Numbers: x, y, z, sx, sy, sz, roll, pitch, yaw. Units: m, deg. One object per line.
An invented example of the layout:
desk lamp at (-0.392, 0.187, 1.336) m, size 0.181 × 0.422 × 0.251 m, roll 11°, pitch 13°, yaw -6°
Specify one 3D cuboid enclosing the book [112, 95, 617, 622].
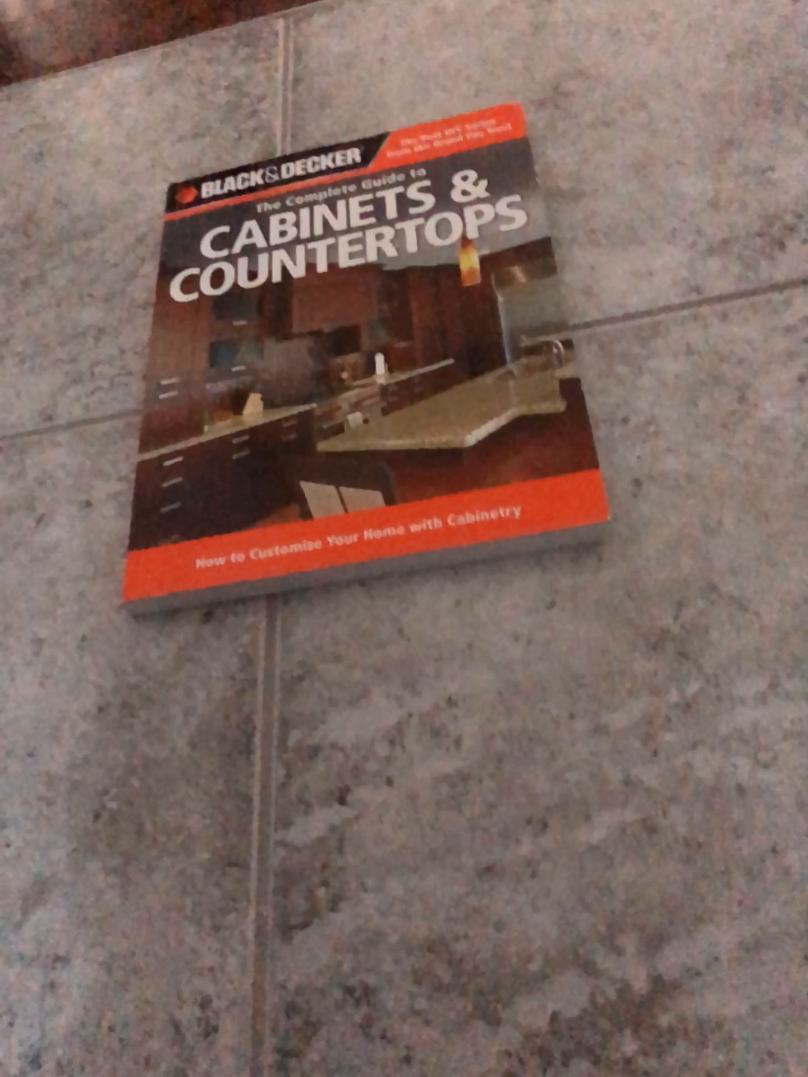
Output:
book at (-0.027, -0.104, 0.453) m, size 0.215 × 0.022 × 0.281 m, roll -9°, pitch 58°, yaw 9°
